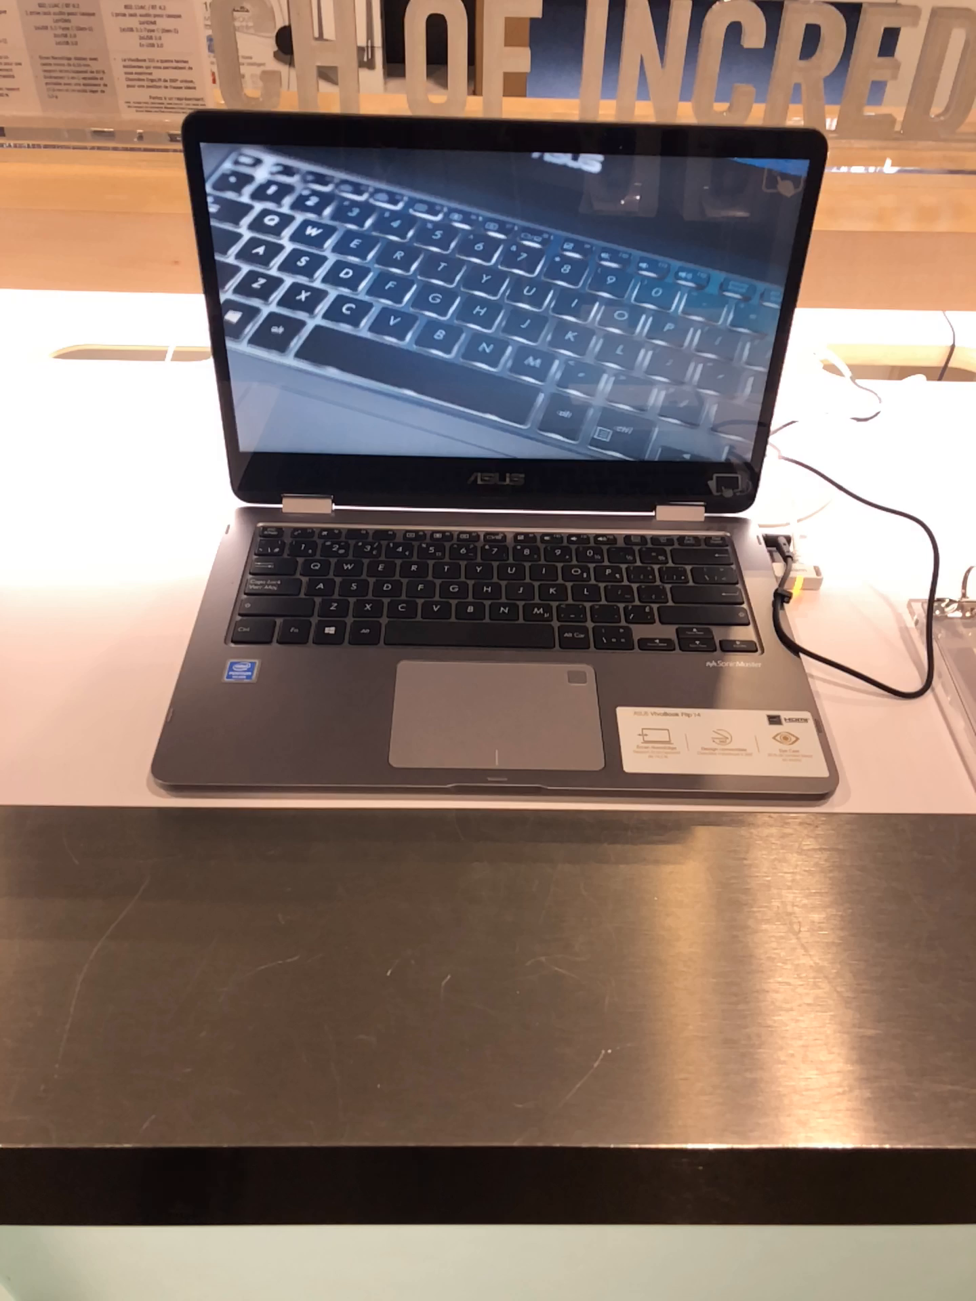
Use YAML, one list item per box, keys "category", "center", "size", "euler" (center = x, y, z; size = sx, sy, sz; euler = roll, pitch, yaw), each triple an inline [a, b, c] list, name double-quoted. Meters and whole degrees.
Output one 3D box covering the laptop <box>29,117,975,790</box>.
- category: "laptop"
  center: [0.007, -0.090, 0.482]
  size: [0.303, 0.210, 0.211]
  euler: [1, 43, -1]
